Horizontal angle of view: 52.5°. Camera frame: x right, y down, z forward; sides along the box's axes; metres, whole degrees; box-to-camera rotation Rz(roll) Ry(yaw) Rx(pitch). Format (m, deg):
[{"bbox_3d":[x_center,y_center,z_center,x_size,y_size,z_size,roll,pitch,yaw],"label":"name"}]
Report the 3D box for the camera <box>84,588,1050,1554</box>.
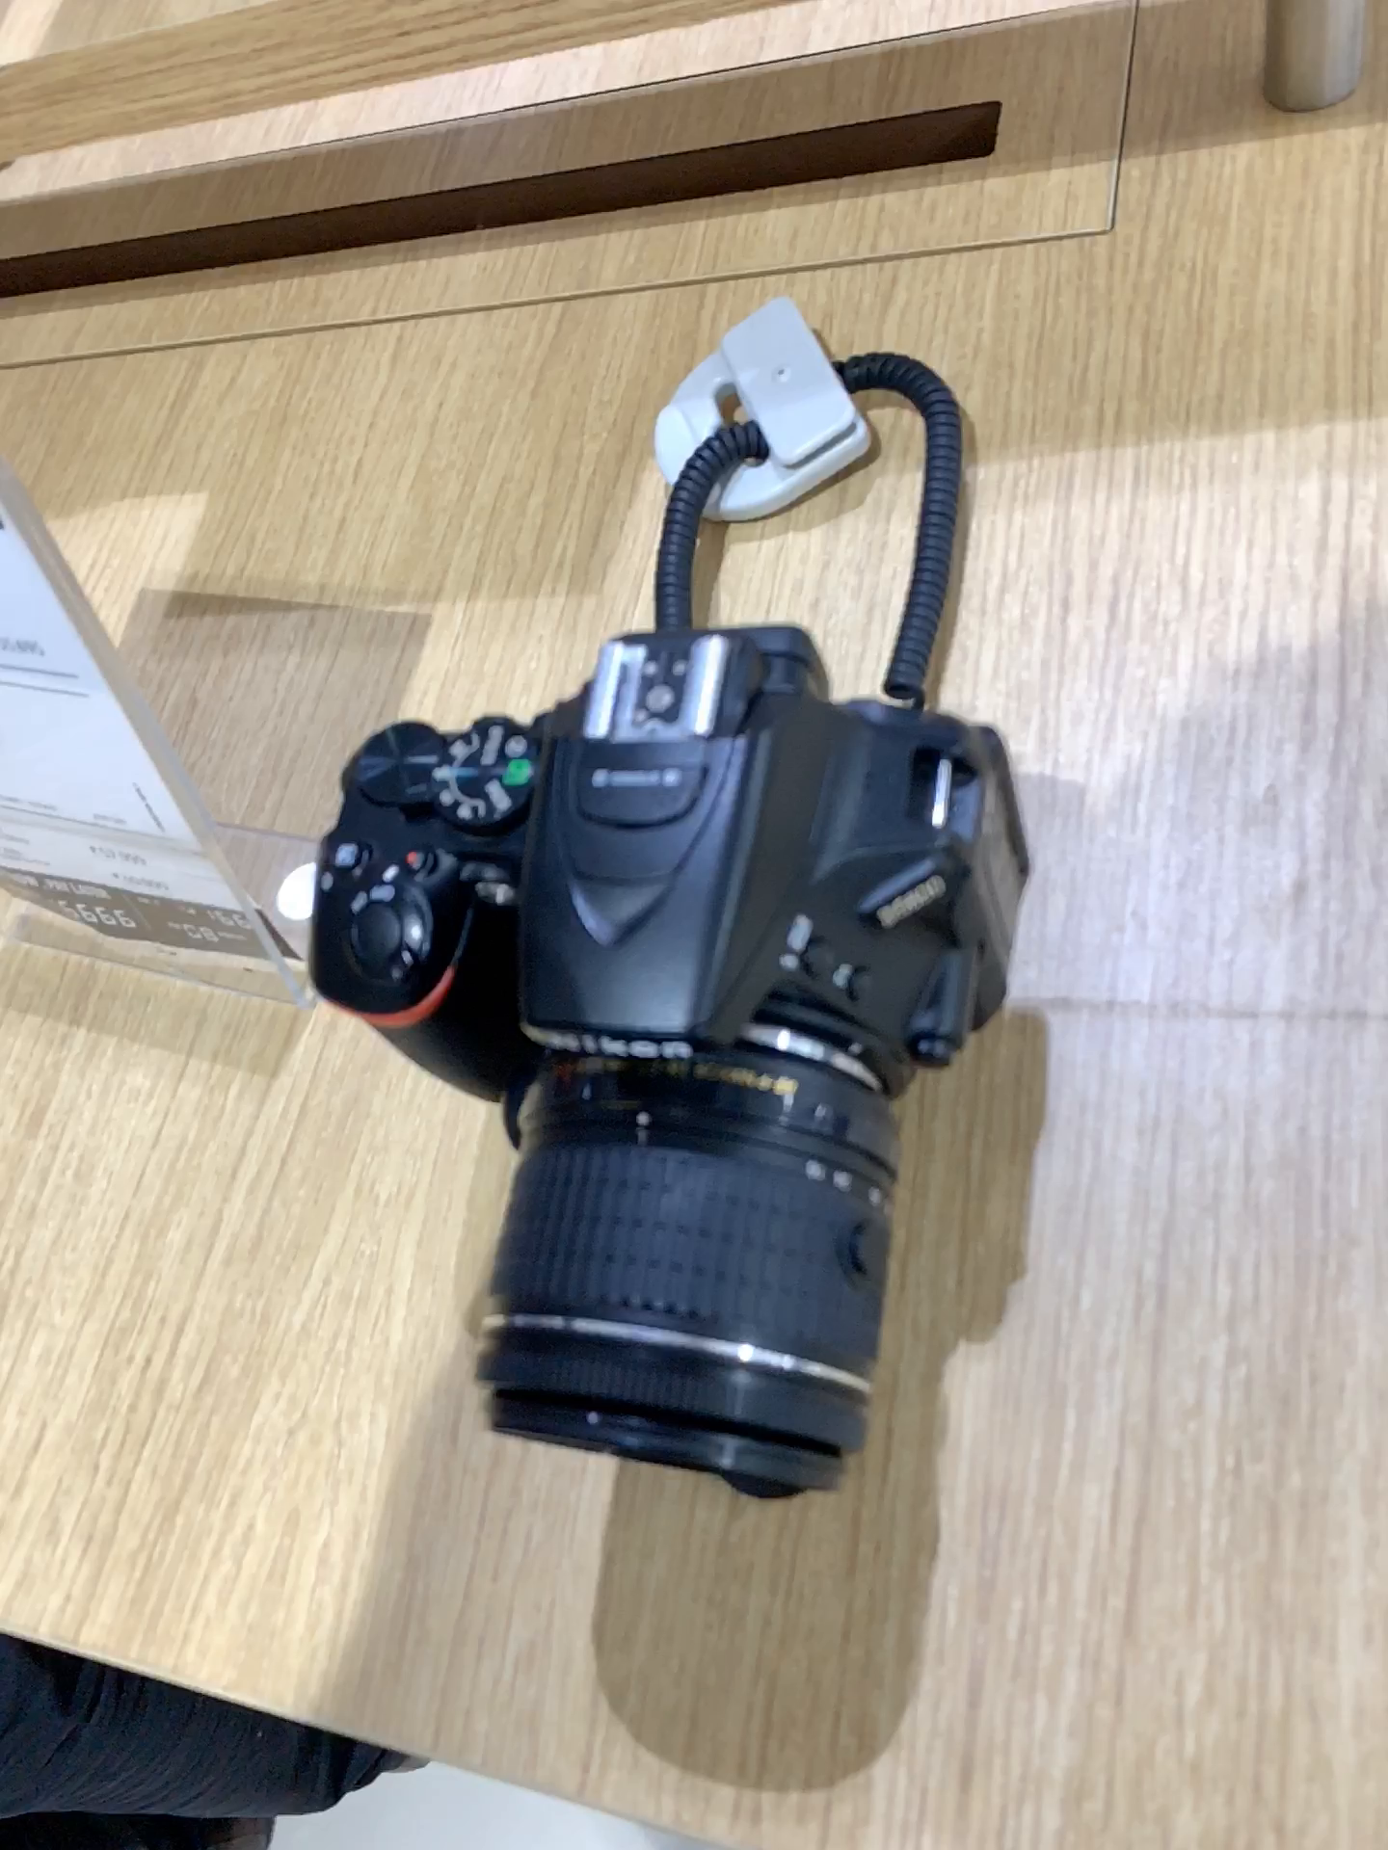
[{"bbox_3d":[-0.007,0.024,0.223,0.110,0.080,0.120,1,66,20],"label":"camera"}]
